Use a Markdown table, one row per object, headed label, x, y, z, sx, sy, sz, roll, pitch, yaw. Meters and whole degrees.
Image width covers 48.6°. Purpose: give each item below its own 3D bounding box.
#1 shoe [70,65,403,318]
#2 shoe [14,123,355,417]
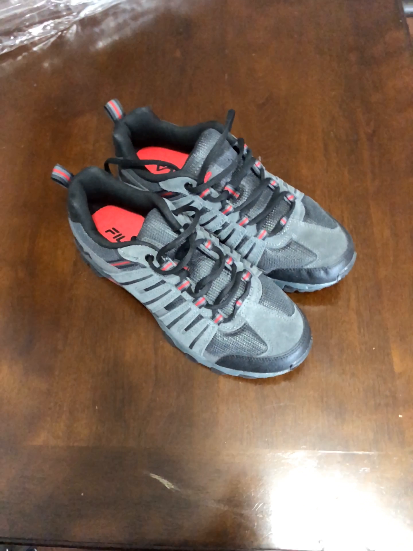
| label | x | y | z | sx | sy | sz | roll | pitch | yaw |
| --- | --- | --- | --- | --- | --- | --- | --- | --- | --- |
| shoe | 0.024 | -0.093 | 0.483 | 0.300 | 0.100 | 0.120 | 29 | 72 | 18 |
| shoe | -0.027 | -0.012 | 0.453 | 0.300 | 0.100 | 0.120 | 35 | 74 | 19 |
